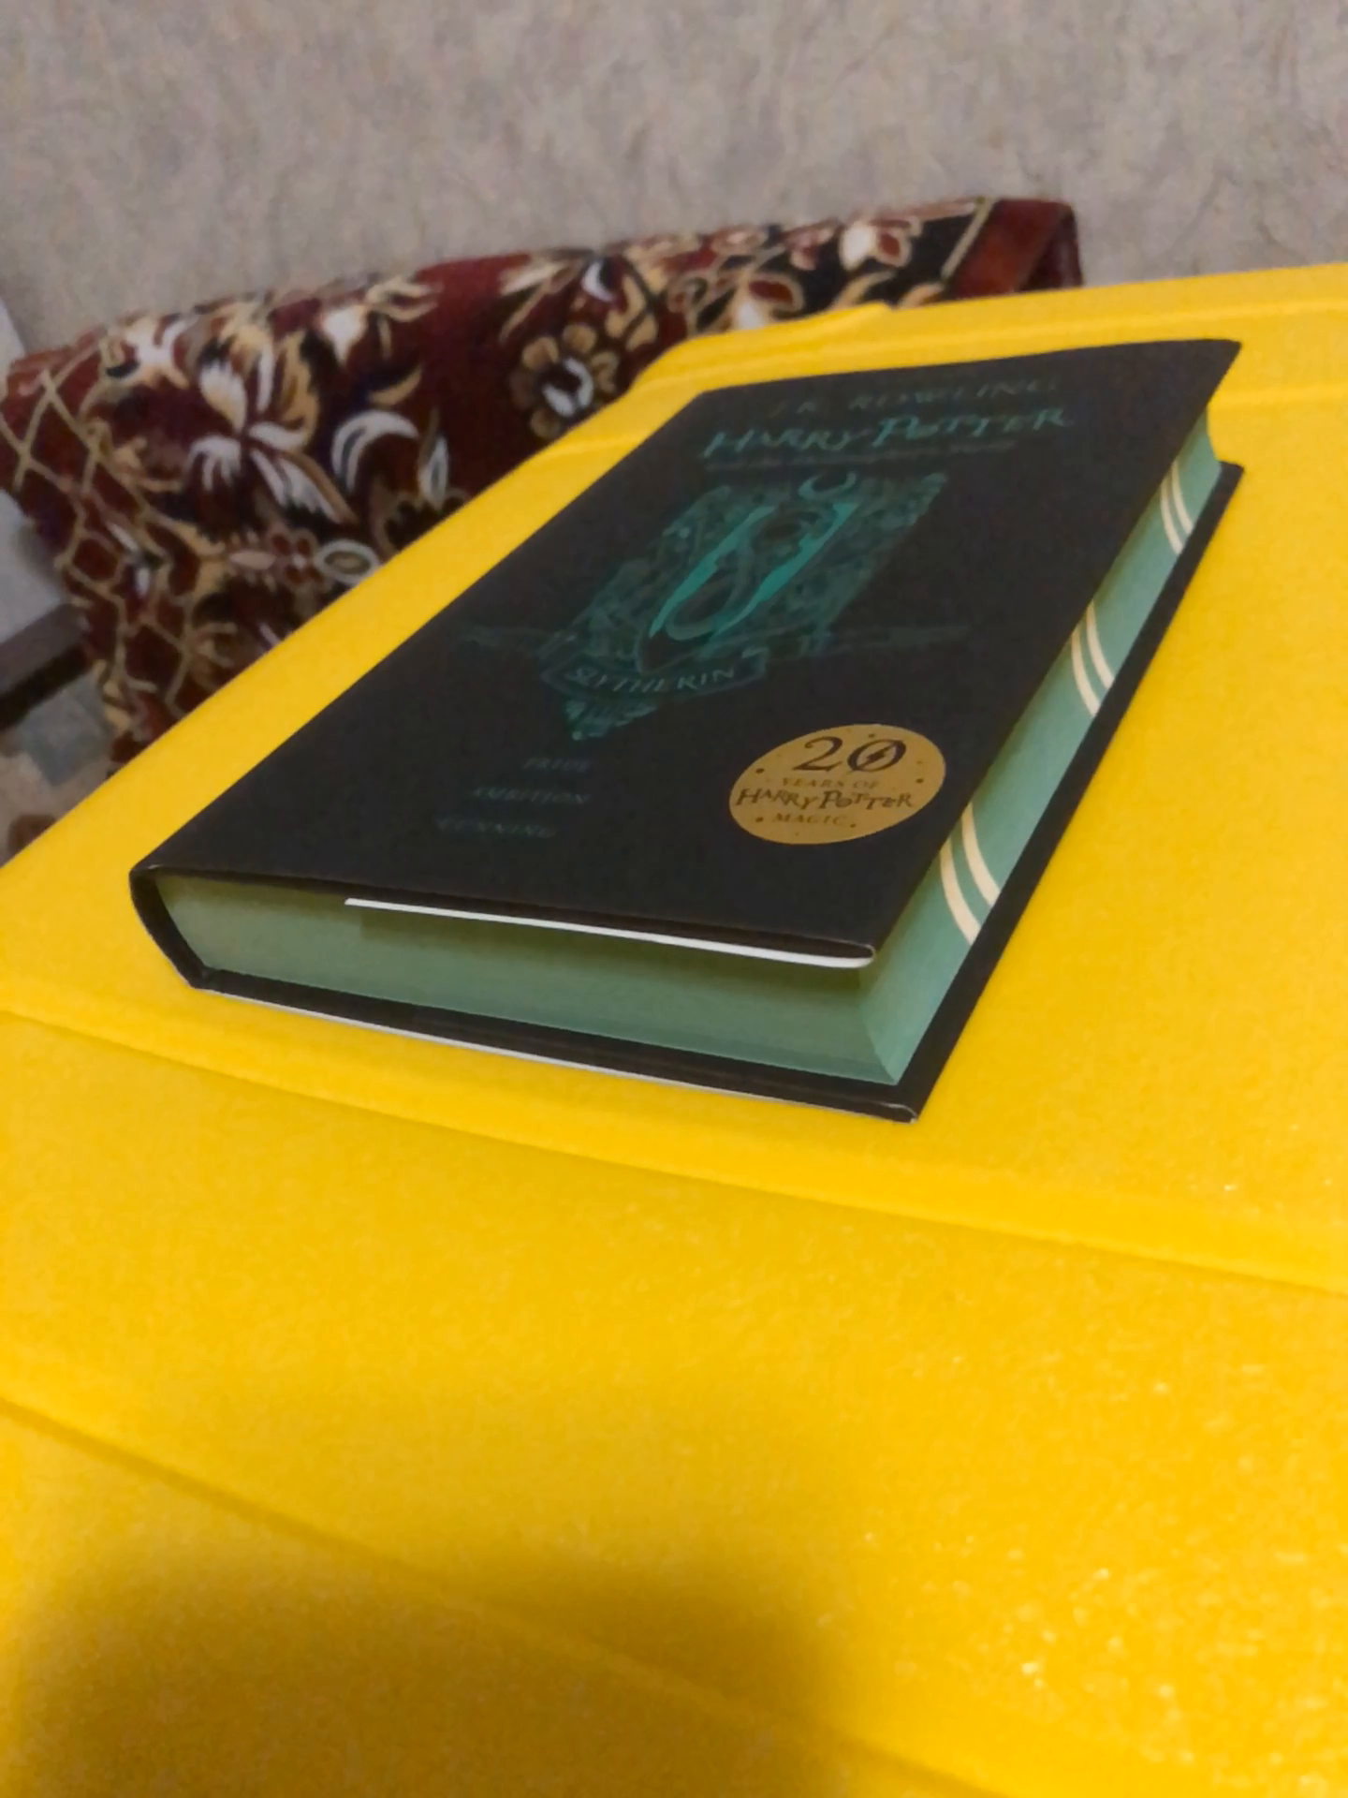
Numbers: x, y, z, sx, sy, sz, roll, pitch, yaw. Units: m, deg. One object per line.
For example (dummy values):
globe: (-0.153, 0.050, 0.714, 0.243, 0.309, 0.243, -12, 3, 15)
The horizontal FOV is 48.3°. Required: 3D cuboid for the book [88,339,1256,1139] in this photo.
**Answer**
book: (0.016, -0.049, 0.281, 0.137, 0.030, 0.205, 7, 39, 30)
